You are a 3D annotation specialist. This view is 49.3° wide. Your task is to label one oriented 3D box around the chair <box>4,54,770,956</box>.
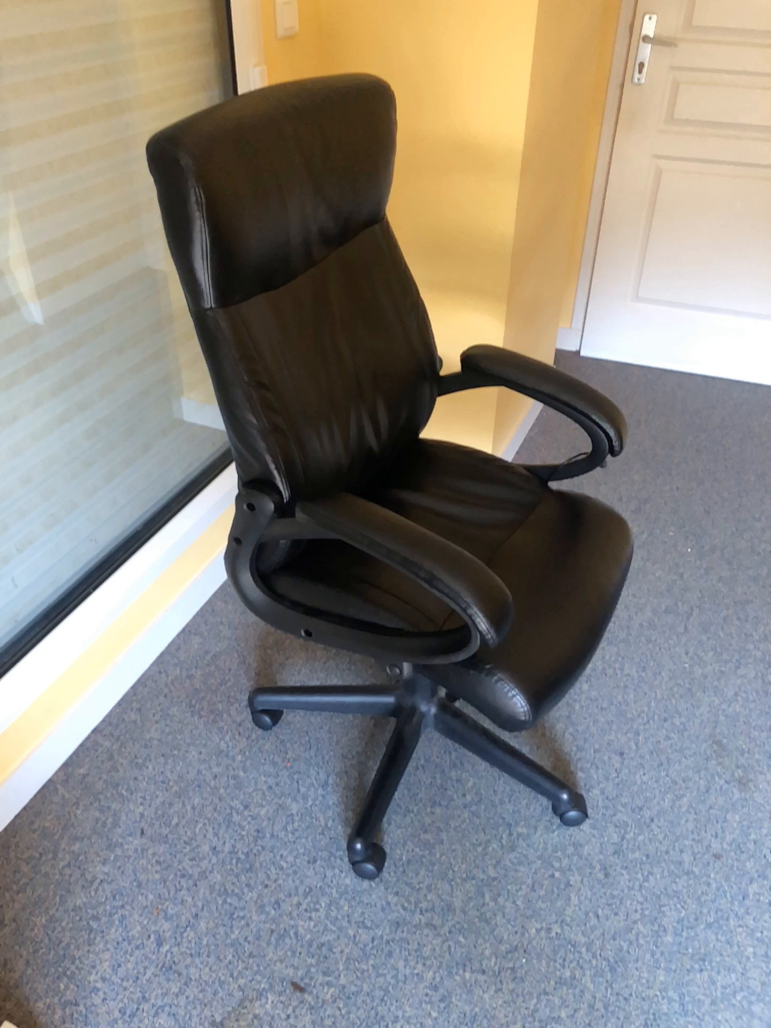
[{"bbox_3d":[0.059,-0.041,1.351,0.750,1.113,0.665,16,38,20],"label":"chair"}]
